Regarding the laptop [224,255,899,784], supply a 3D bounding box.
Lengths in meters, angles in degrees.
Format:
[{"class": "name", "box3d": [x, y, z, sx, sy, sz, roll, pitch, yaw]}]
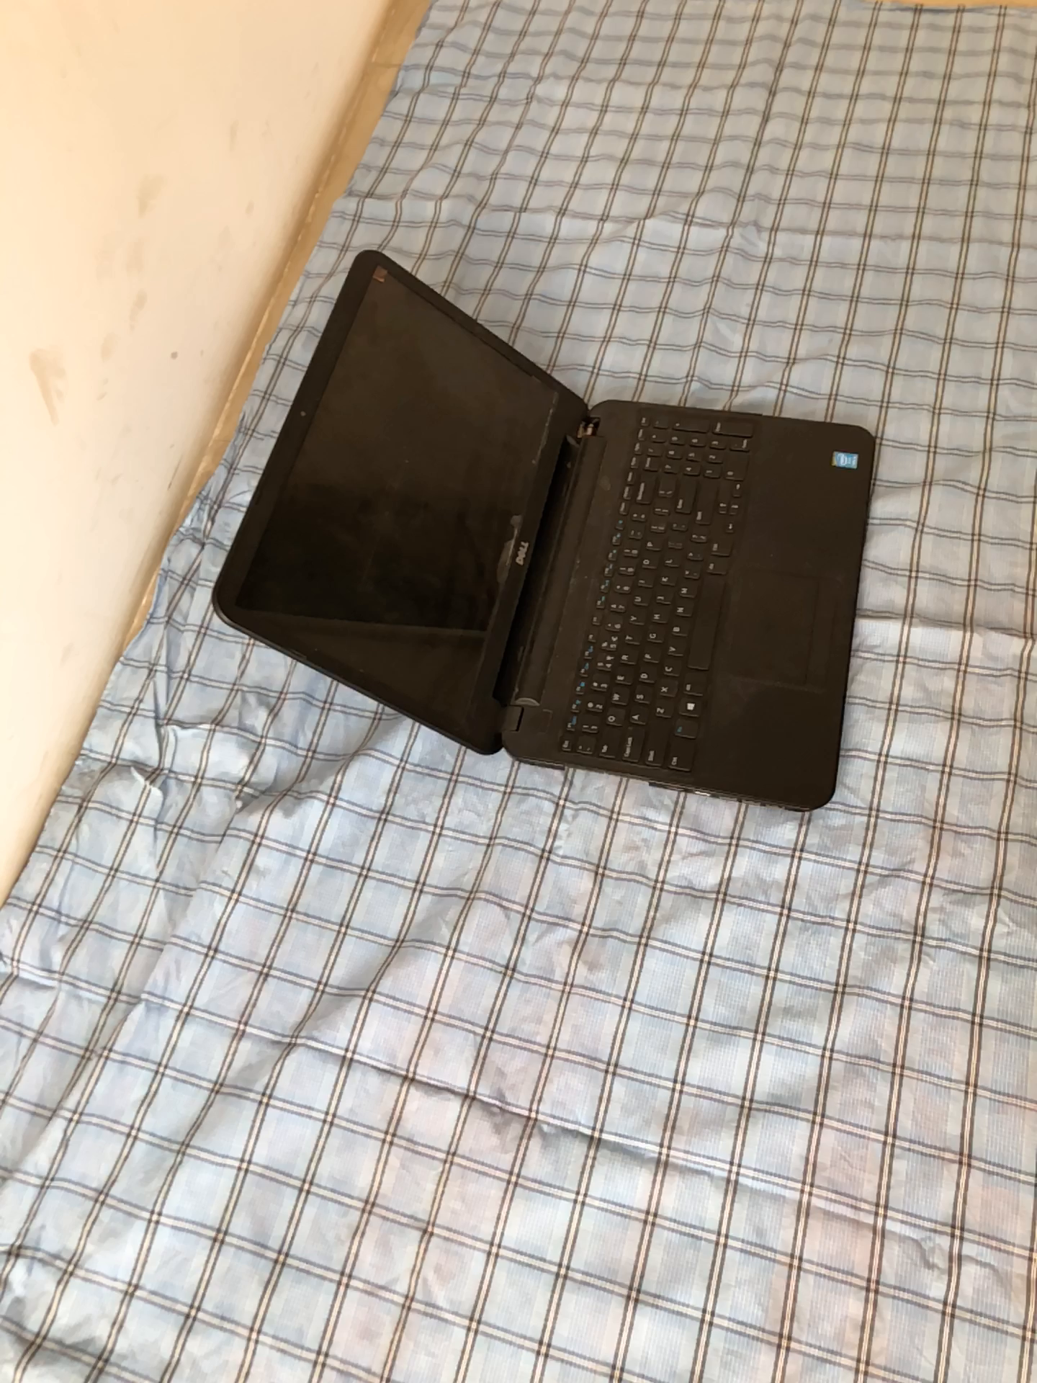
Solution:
[{"class": "laptop", "box3d": [0.051, -0.148, 0.879, 0.413, 0.164, 0.356, 7, 61, 15]}]
